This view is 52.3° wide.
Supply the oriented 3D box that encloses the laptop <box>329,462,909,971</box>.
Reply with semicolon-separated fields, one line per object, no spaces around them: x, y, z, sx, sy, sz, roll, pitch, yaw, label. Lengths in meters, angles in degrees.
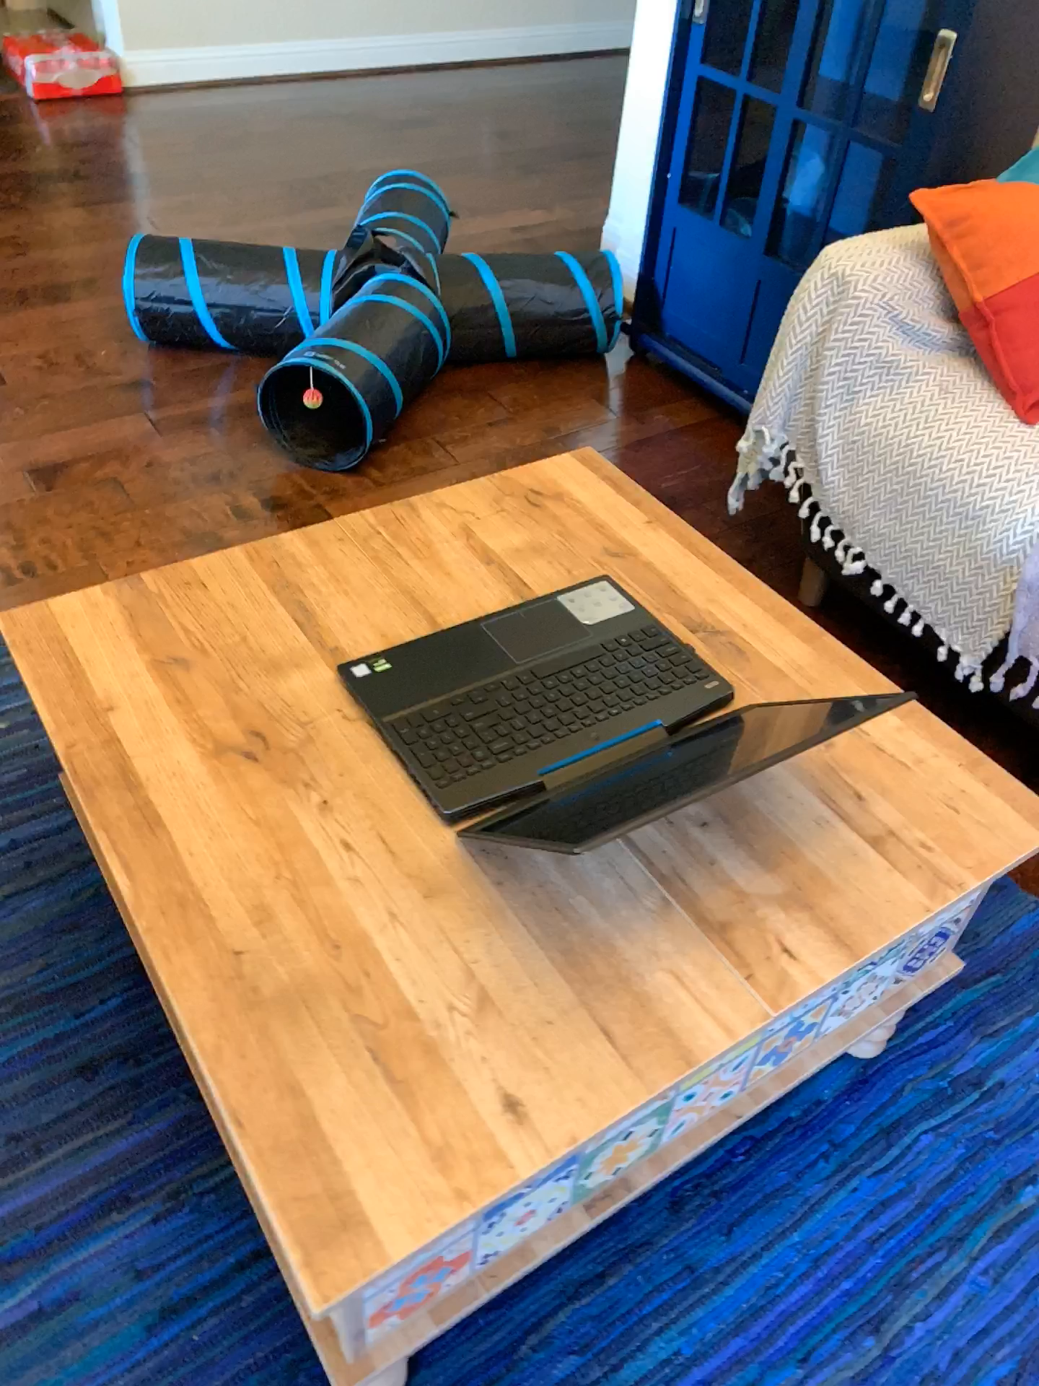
0.072;-0.013;1.008;0.346;0.156;0.419;-21;49;-26;laptop
